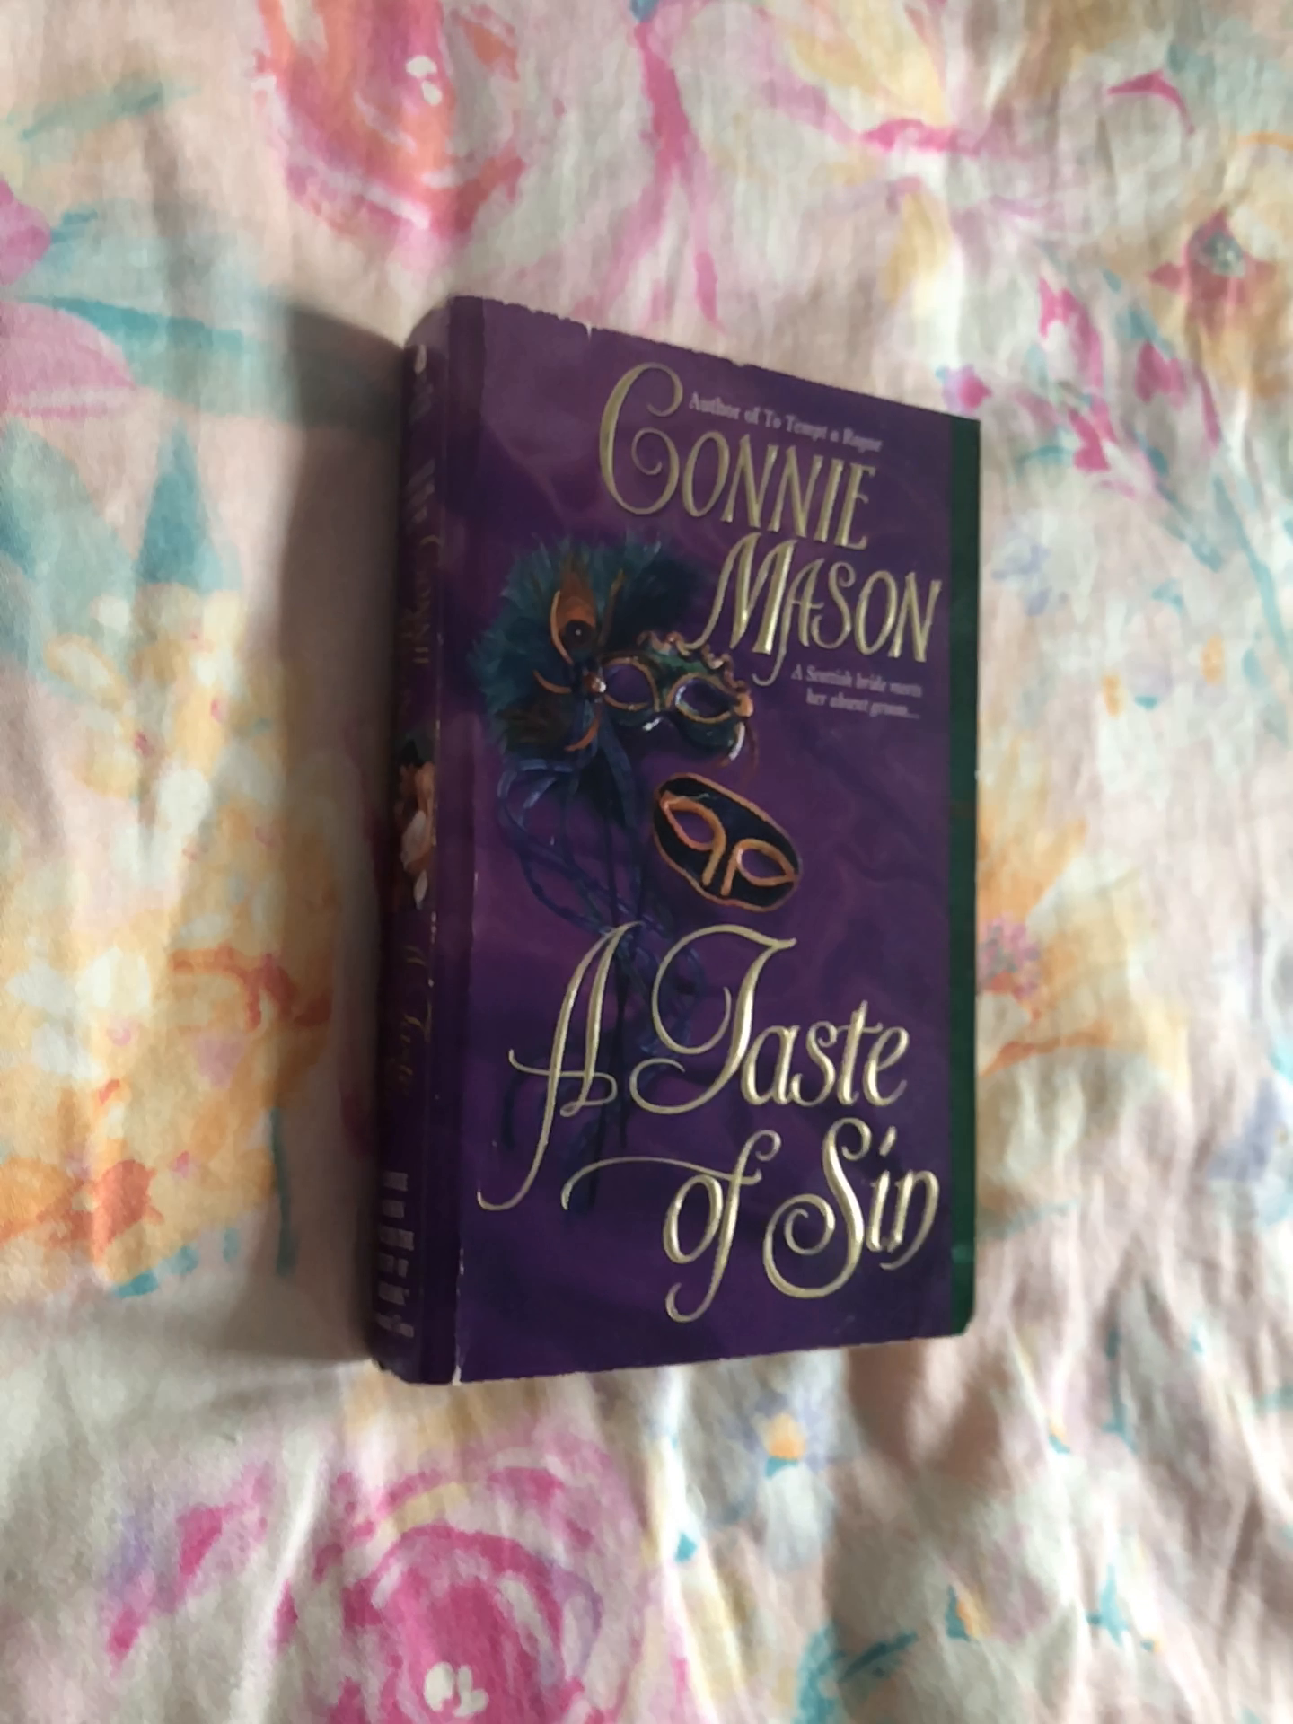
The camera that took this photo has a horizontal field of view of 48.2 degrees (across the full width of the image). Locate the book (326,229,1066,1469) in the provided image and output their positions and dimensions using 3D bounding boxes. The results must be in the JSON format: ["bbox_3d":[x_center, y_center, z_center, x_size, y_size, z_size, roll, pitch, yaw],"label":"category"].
[{"bbox_3d":[0.009,-0.002,0.255,0.120,0.040,0.180,5,77,-34],"label":"book"}]
